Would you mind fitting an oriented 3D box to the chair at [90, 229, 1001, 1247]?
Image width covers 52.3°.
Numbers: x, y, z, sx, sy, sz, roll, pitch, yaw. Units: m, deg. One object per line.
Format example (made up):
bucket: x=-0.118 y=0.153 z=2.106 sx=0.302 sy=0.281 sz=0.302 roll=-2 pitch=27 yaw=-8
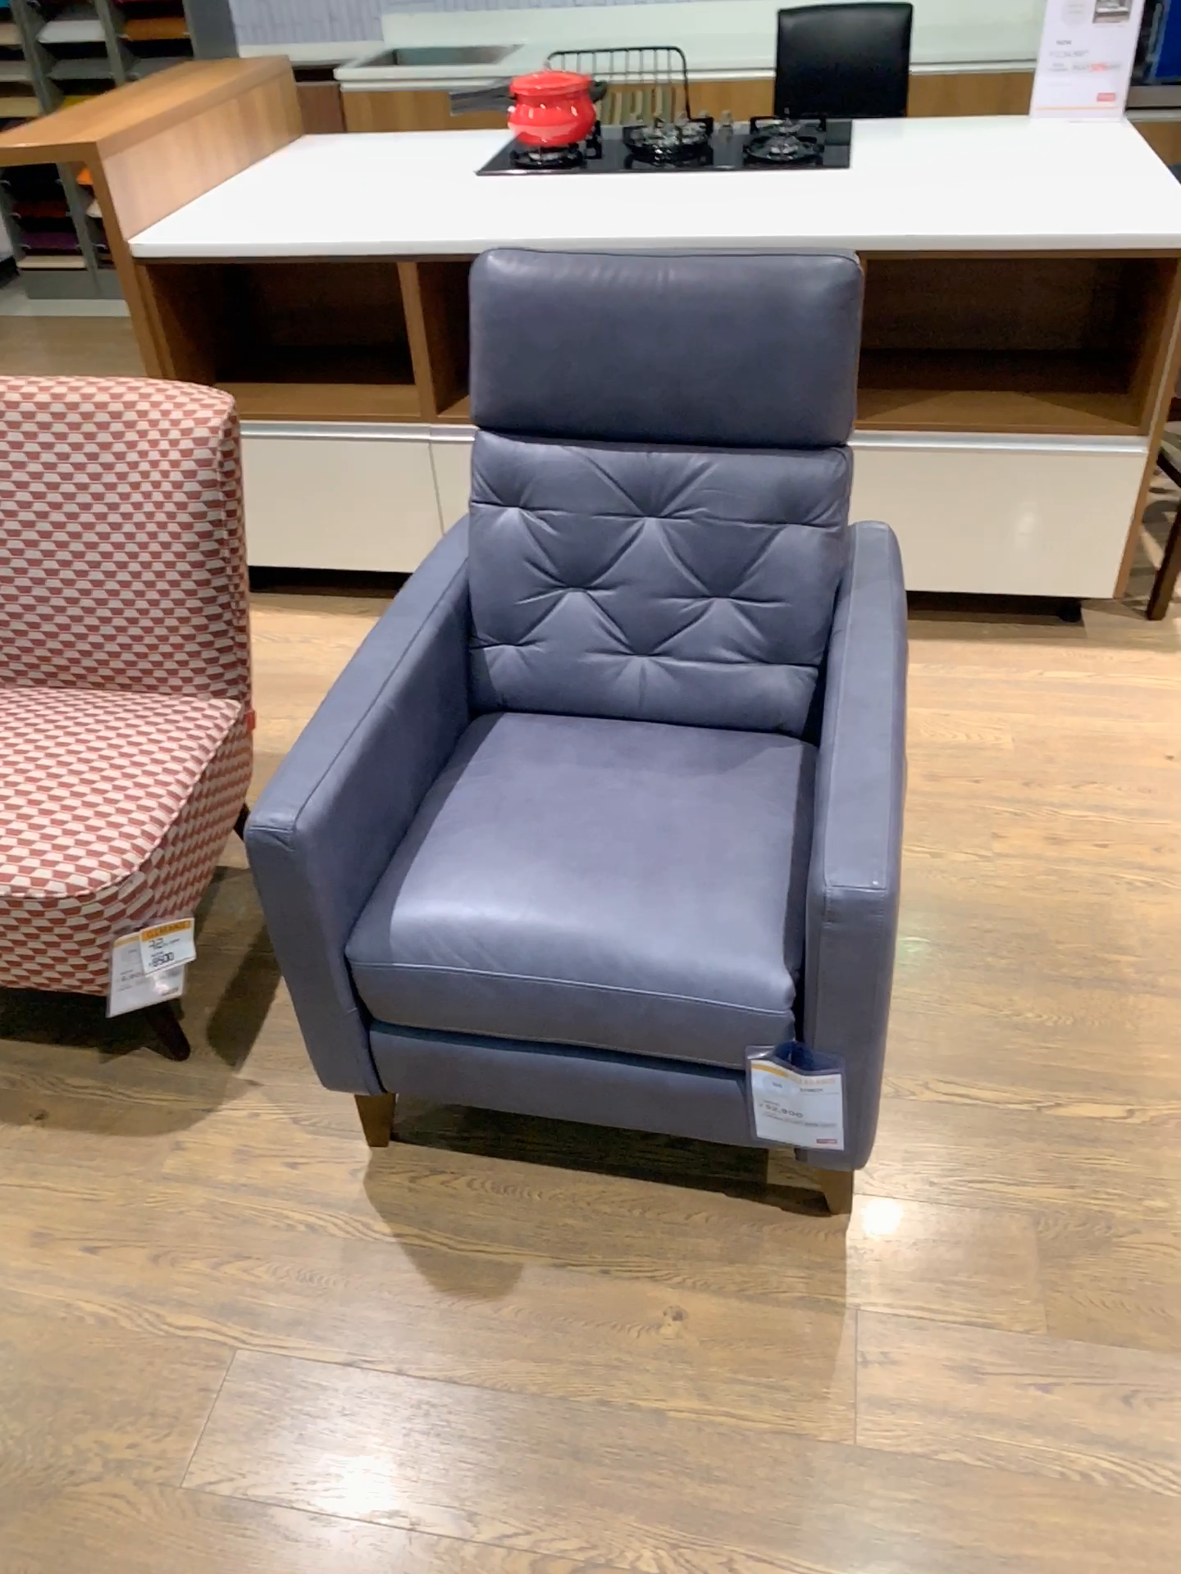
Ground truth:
chair: x=0.049 y=-0.102 z=1.617 sx=0.770 sy=0.995 sz=0.853 roll=5 pitch=39 yaw=11
